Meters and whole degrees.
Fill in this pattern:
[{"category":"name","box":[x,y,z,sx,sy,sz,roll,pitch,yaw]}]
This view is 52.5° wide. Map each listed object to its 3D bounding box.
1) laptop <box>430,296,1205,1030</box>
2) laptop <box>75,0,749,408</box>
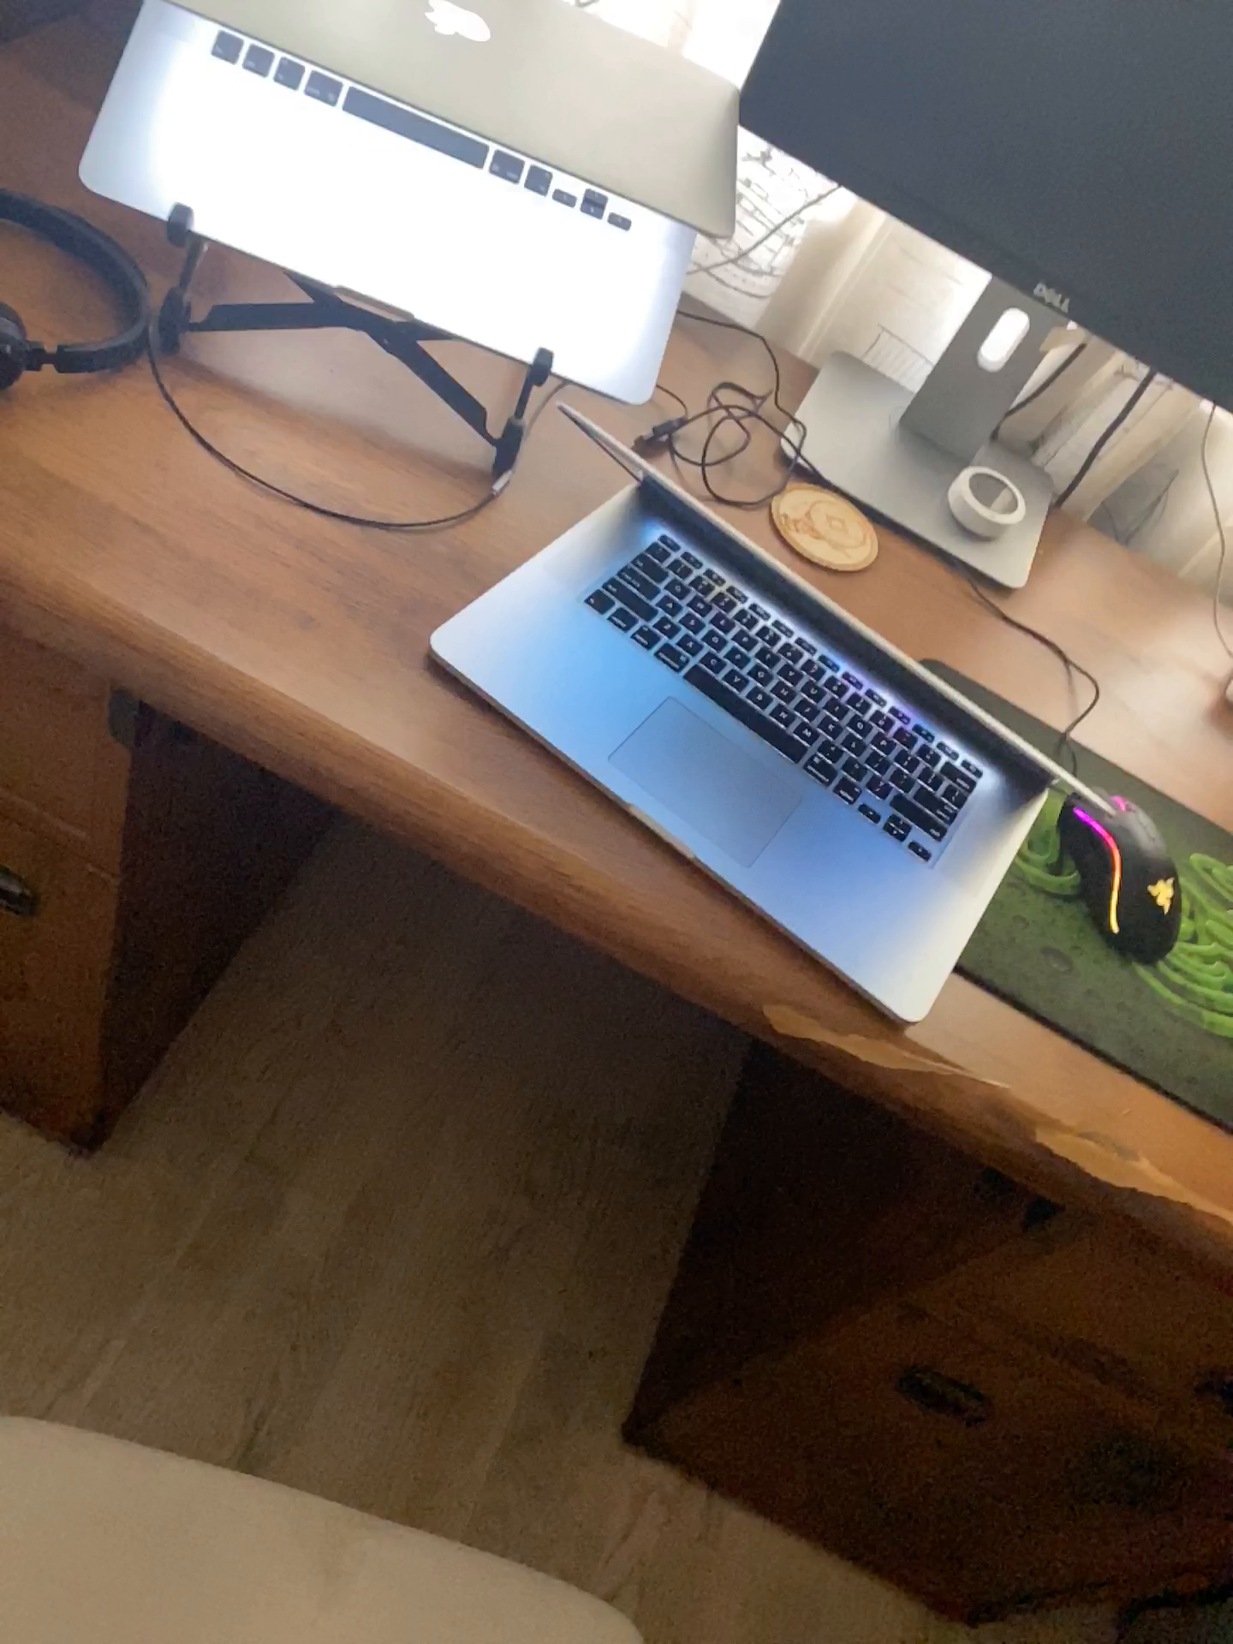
[{"category":"laptop","box":[0.117,-0.104,0.728,0.355,0.152,0.236,39,50,6]},{"category":"laptop","box":[-0.111,-0.434,0.773,0.355,0.022,0.243,18,75,-11]}]
